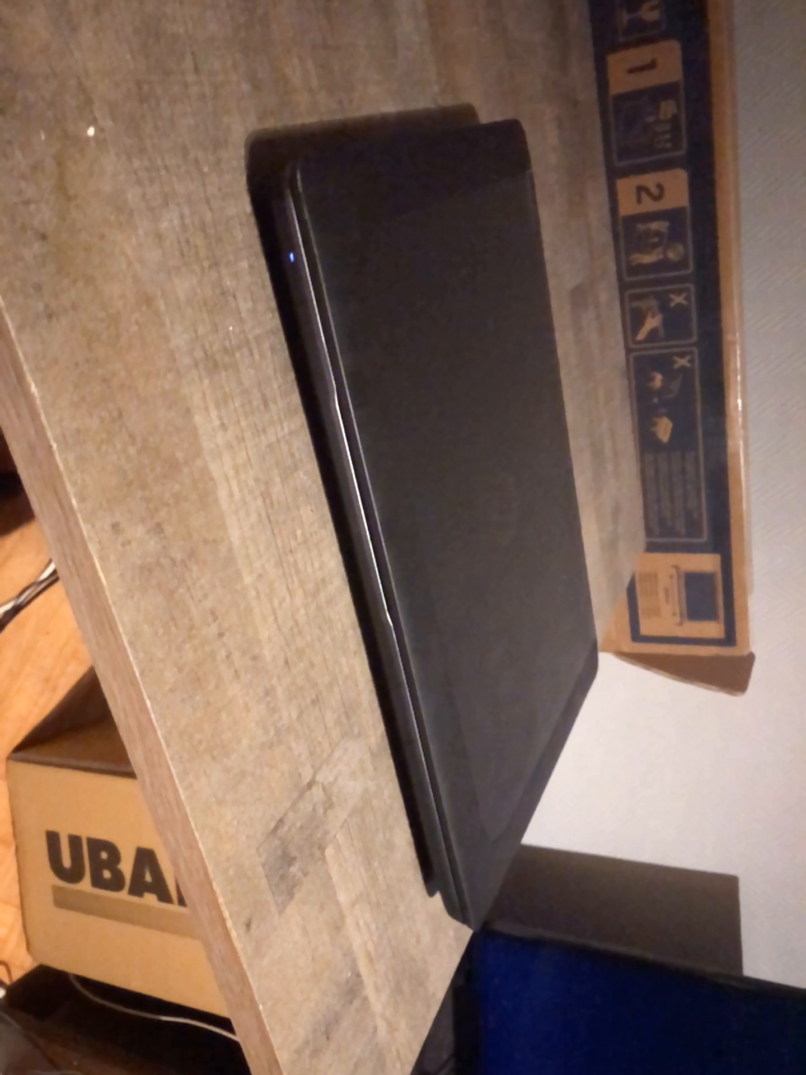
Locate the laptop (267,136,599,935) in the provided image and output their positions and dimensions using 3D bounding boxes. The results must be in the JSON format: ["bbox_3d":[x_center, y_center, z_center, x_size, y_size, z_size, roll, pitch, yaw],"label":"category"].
[{"bbox_3d":[0.047,-0.012,0.486,0.241,0.017,0.366,-46,130,-53],"label":"laptop"}]
